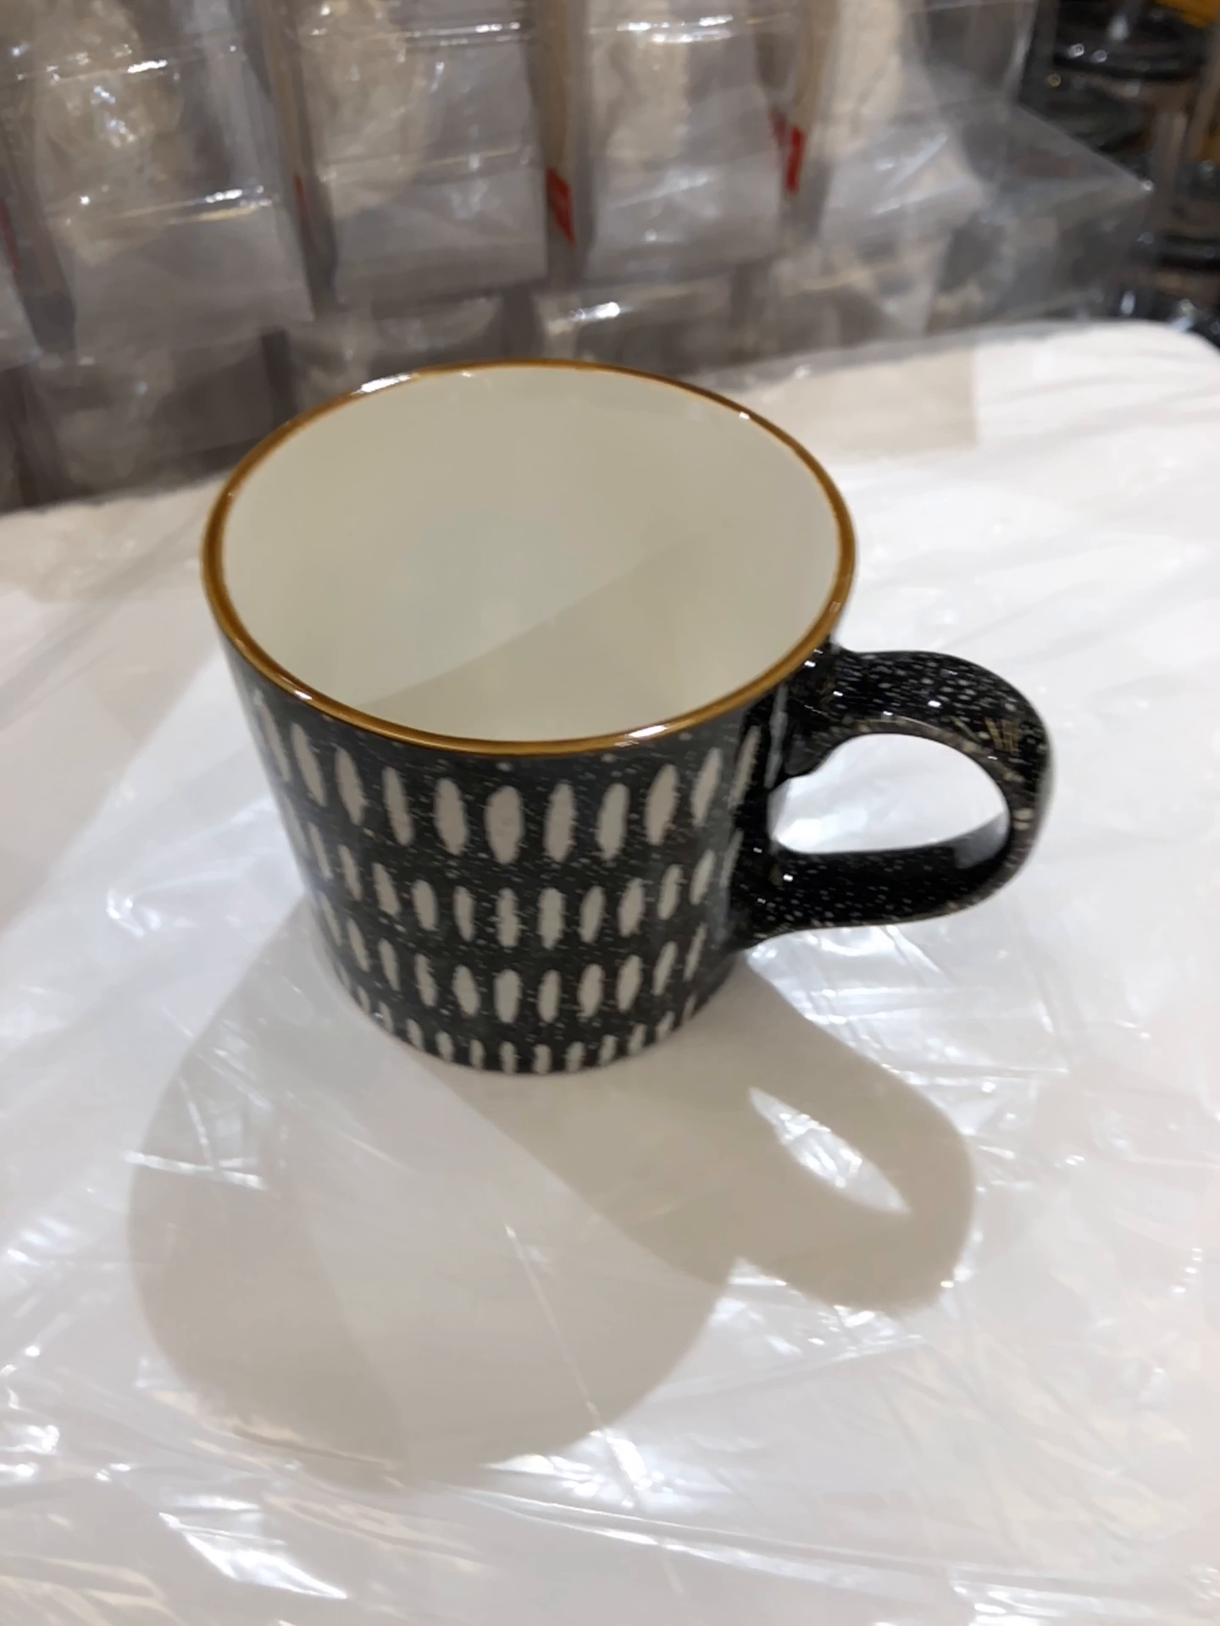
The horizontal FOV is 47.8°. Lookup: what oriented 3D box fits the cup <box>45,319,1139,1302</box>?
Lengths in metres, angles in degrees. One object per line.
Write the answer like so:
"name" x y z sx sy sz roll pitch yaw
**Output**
"cup" 0.003 -0.004 0.194 0.110 0.079 0.081 16 48 12
